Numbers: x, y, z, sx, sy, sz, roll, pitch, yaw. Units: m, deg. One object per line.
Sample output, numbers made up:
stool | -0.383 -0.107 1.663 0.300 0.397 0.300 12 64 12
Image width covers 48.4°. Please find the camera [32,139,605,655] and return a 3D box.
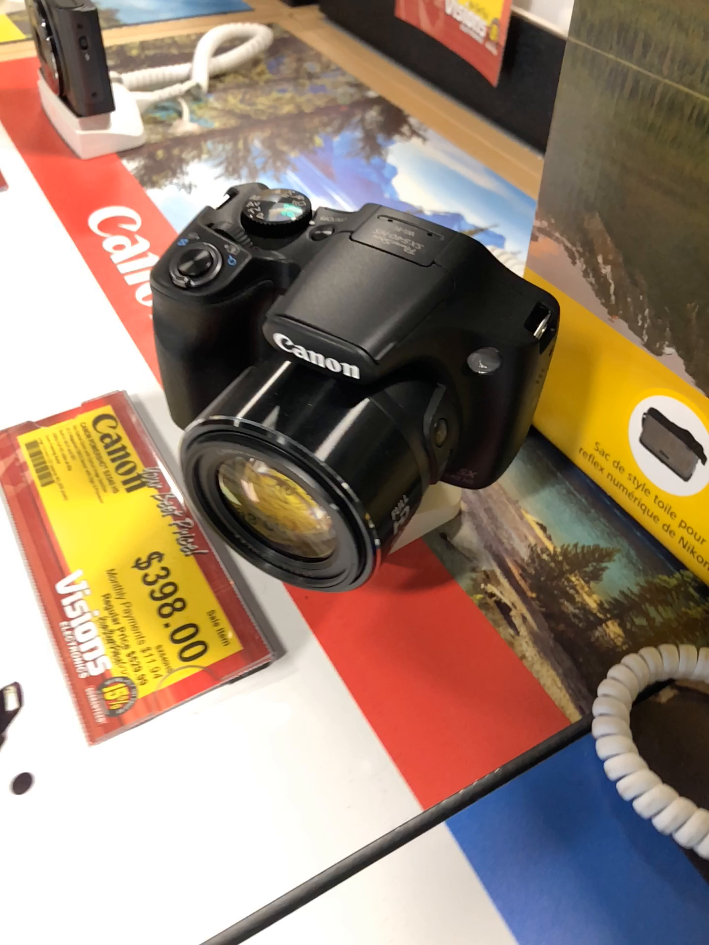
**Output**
camera | -0.009 -0.029 0.235 0.120 0.079 0.090 26 50 22
